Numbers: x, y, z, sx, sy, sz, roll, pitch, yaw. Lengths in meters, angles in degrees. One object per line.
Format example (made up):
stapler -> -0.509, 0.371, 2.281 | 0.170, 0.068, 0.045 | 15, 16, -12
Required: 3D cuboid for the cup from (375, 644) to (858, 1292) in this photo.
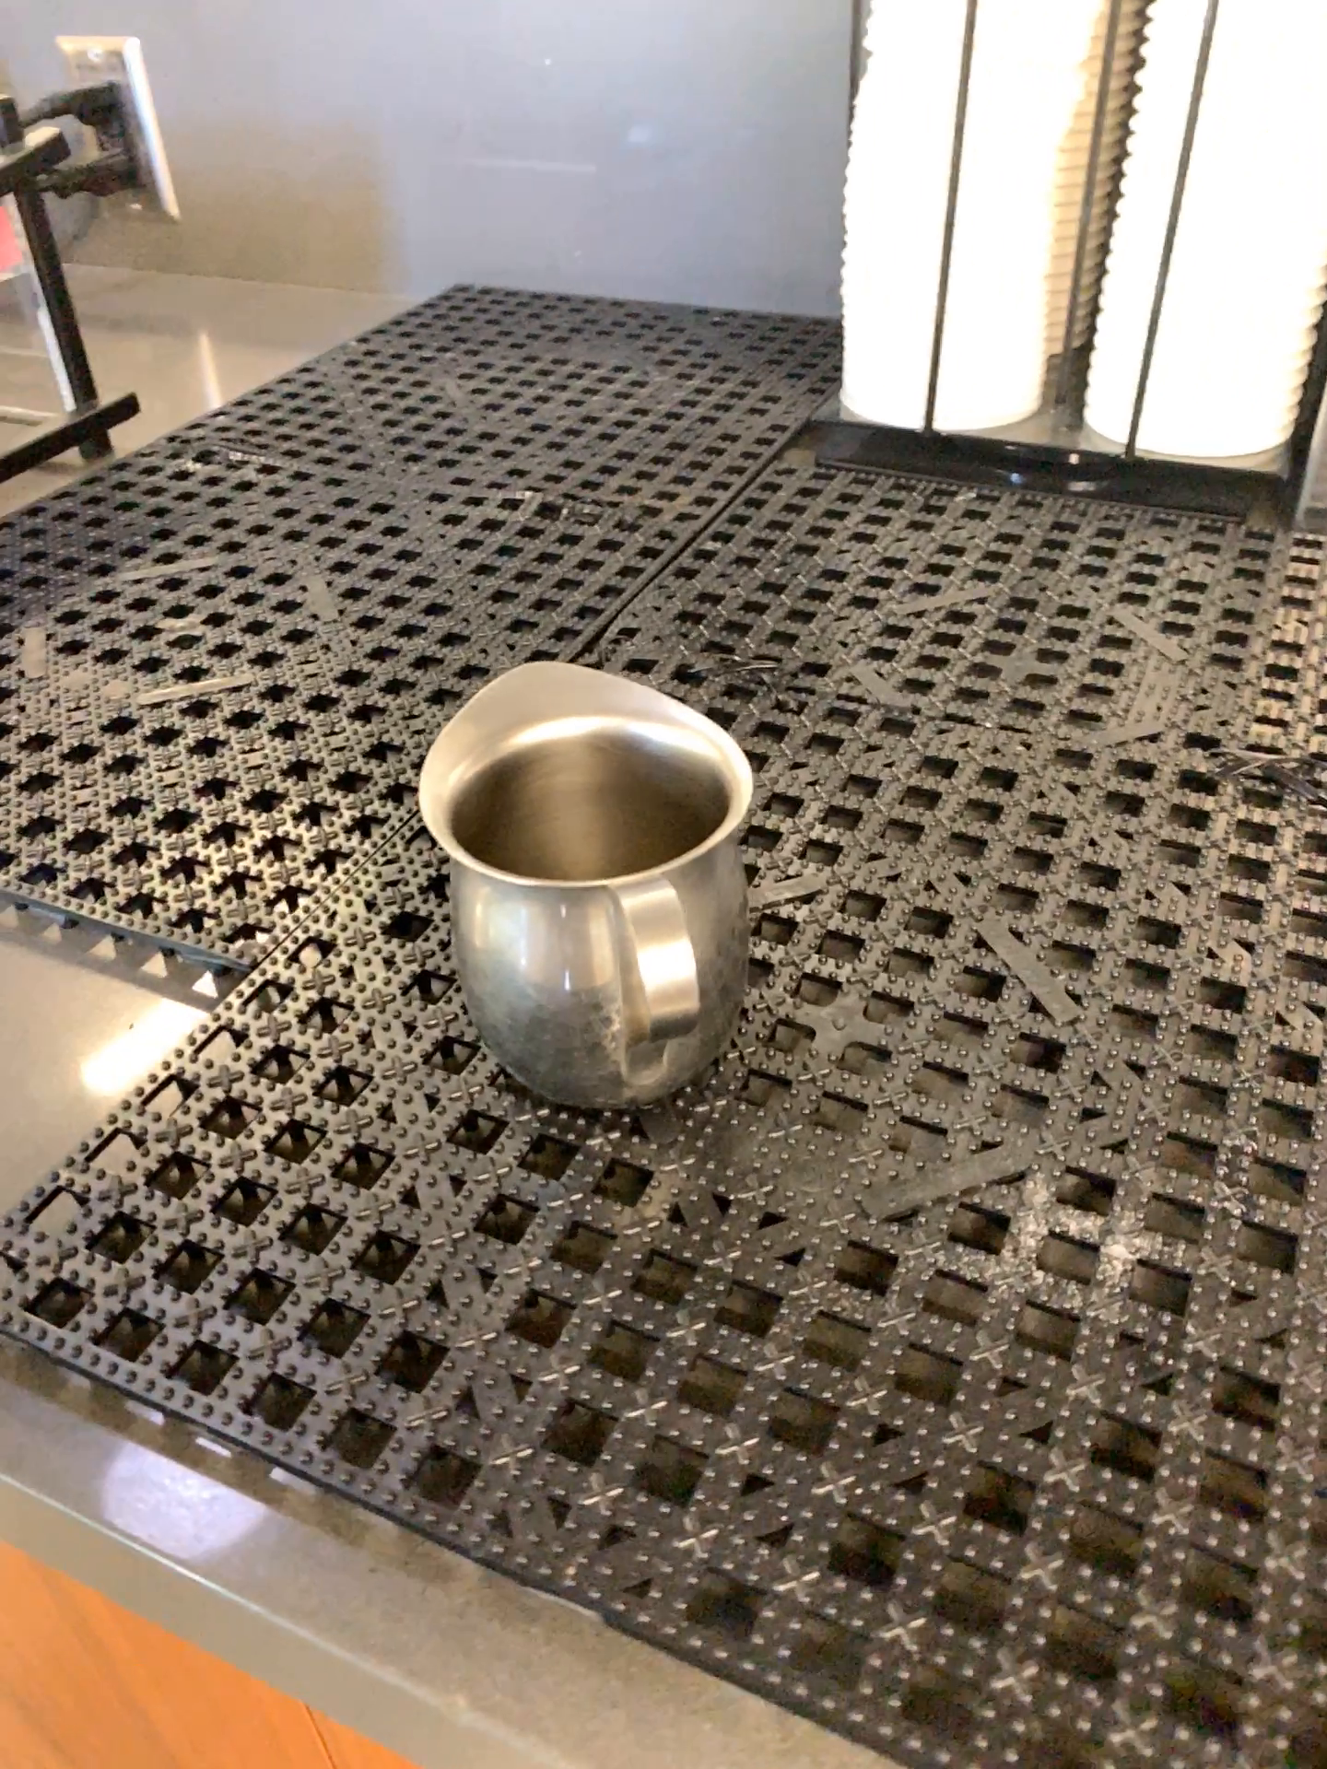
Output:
cup -> -0.014, 0.011, 0.288 | 0.070, 0.070, 0.111 | -11, 39, -11
